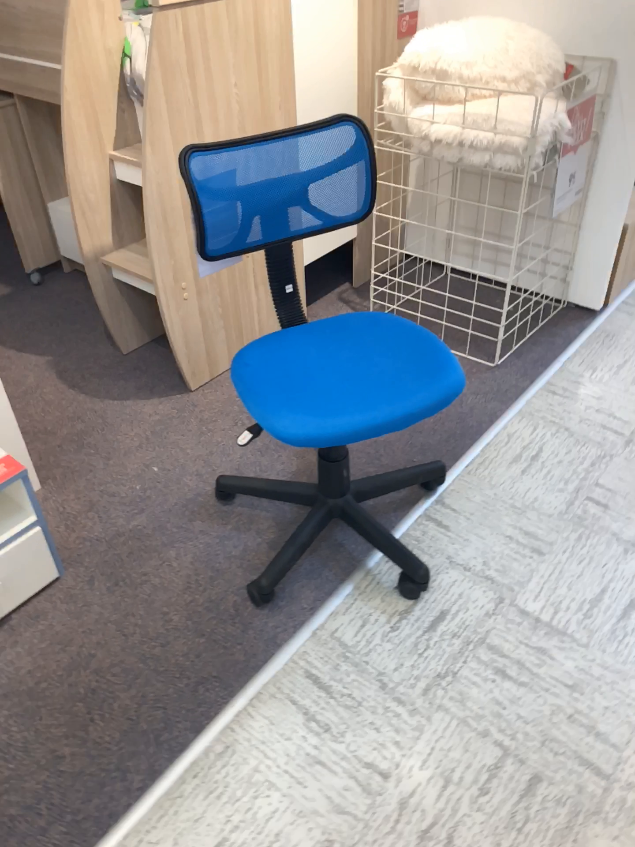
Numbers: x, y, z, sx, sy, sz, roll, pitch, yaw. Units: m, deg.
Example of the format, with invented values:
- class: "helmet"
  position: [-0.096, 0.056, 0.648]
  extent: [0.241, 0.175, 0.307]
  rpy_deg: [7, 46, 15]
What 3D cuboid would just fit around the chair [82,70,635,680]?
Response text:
- class: "chair"
  position: [0.069, -0.137, 1.312]
  extent: [0.663, 0.795, 0.612]
  rpy_deg: [-23, 42, -25]
